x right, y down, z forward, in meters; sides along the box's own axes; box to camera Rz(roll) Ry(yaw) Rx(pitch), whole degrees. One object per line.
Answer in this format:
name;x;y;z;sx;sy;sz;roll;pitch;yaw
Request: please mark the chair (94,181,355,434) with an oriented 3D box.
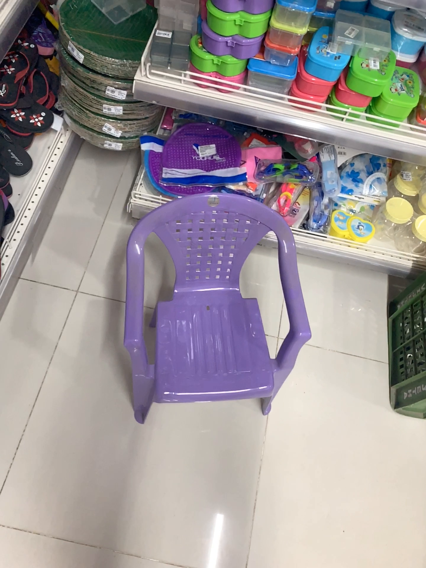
chair;-0.017;0.076;0.966;0.420;0.429;0.400;-3;65;-8
